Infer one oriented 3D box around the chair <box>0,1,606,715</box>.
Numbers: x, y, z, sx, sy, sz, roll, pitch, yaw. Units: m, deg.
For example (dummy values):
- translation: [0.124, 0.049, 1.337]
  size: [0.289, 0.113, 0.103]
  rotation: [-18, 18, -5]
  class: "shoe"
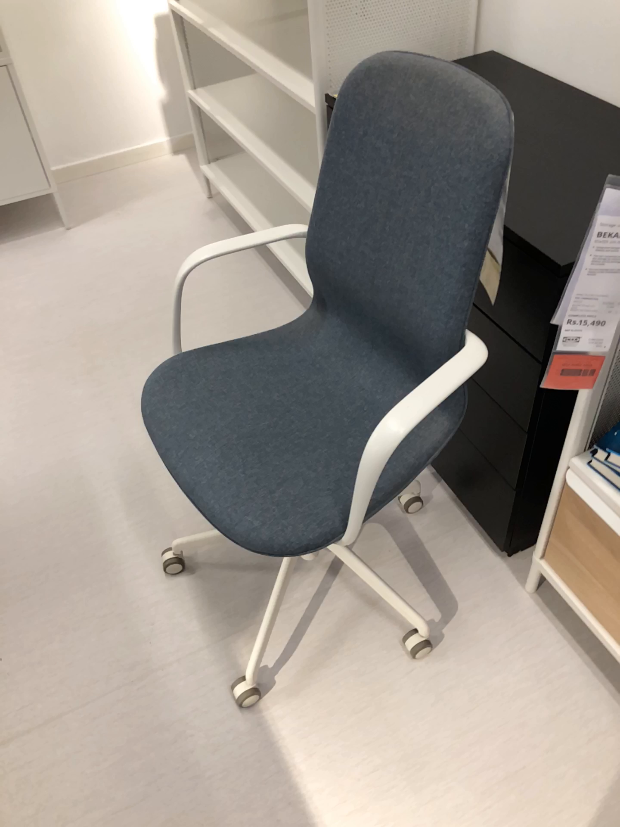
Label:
- translation: [-0.057, -0.030, 1.201]
  size: [0.700, 0.994, 0.704]
  rotation: [-4, 46, 3]
  class: "chair"
